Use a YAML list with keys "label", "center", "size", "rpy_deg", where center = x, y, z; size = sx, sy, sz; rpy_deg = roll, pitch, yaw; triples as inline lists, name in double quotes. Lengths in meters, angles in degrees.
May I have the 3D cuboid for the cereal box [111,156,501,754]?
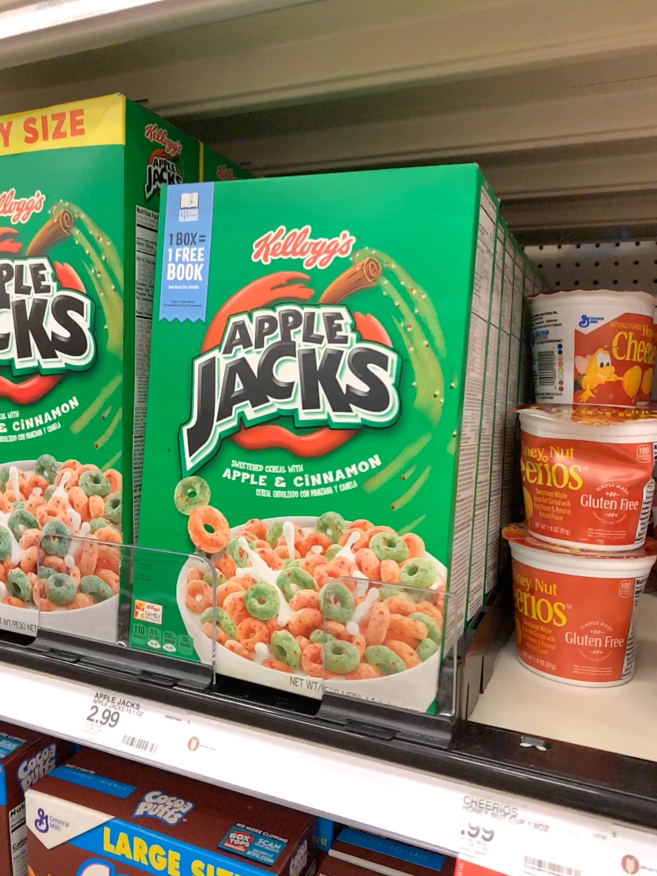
- label: "cereal box"
  center: [-0.016, 0.002, 0.393]
  size: [0.200, 0.290, 0.060]
  rpy_deg: [4, 1, 22]
